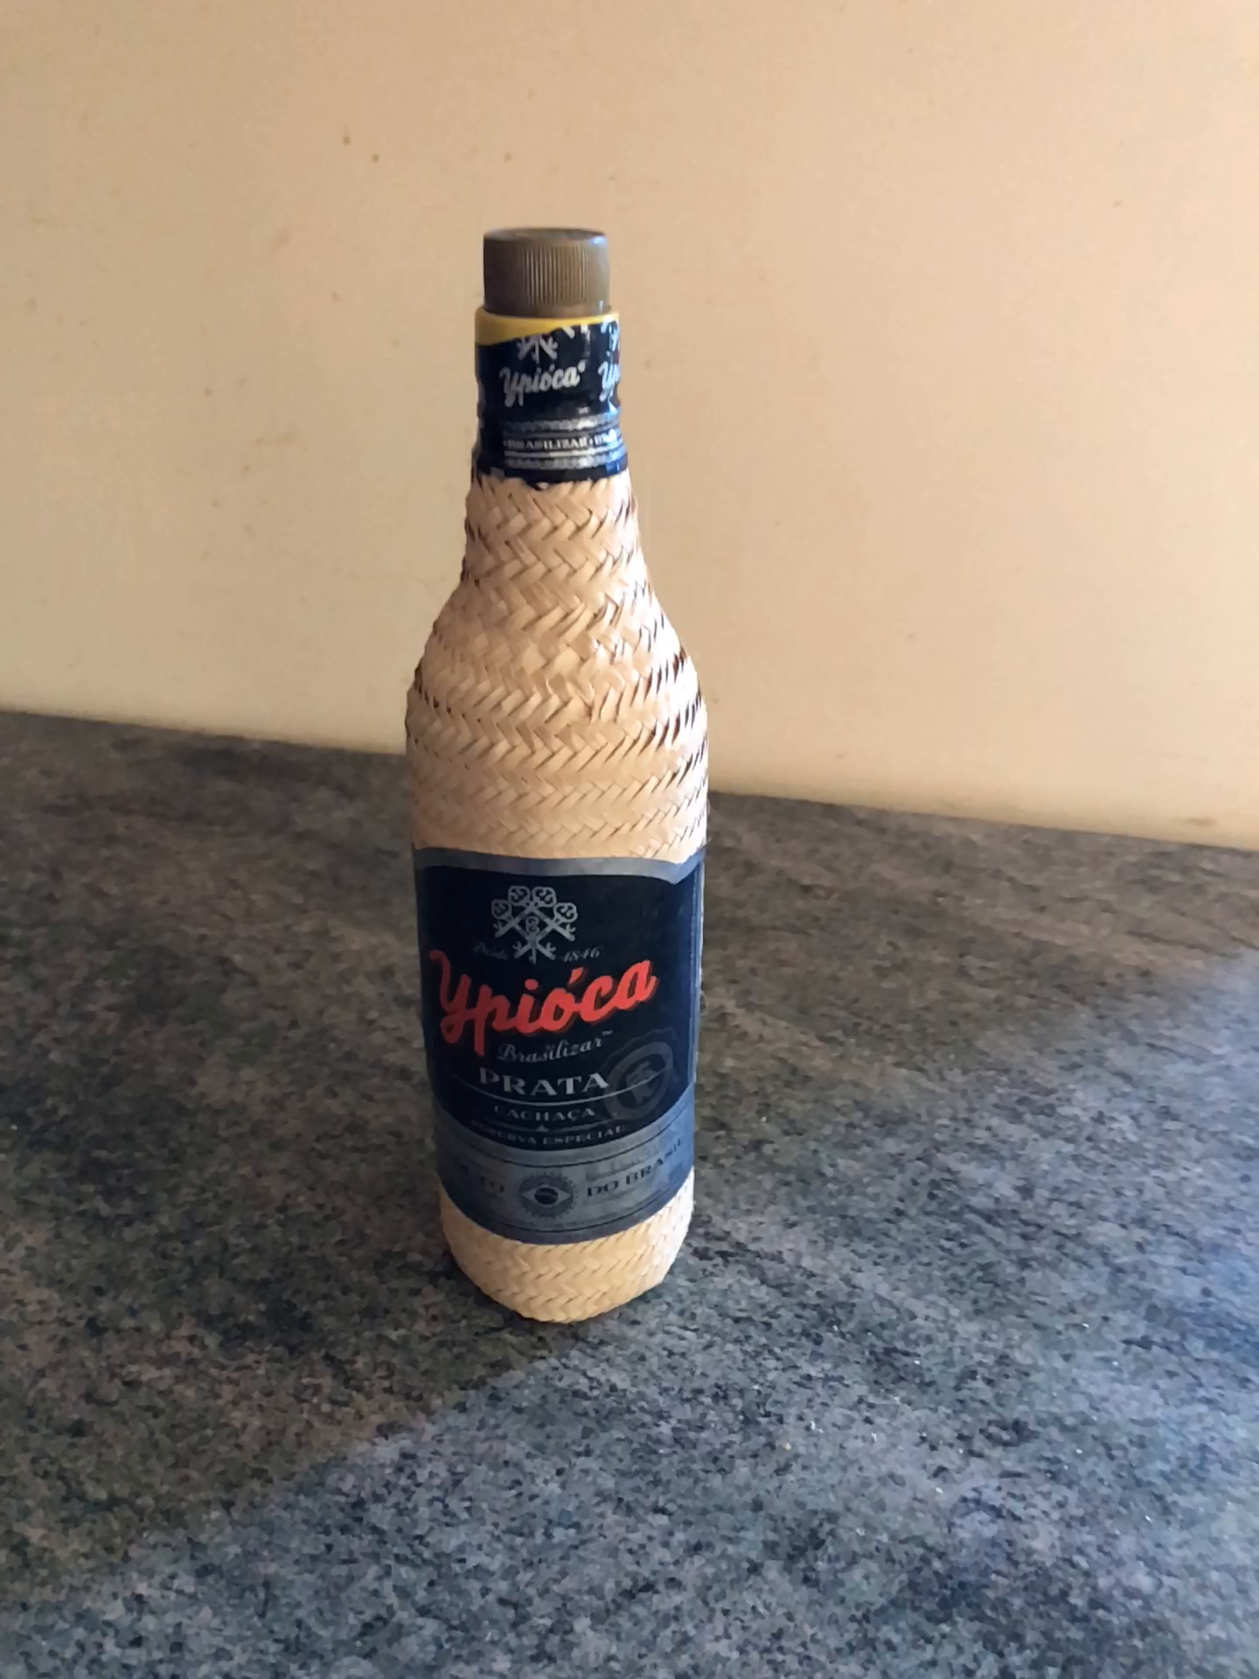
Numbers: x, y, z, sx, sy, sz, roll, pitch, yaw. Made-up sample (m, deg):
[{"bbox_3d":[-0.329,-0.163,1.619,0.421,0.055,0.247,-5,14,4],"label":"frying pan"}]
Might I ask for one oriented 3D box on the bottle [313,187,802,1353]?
[{"bbox_3d":[-0.019,-0.008,0.366,0.090,0.288,0.080,8,27,7],"label":"bottle"}]
